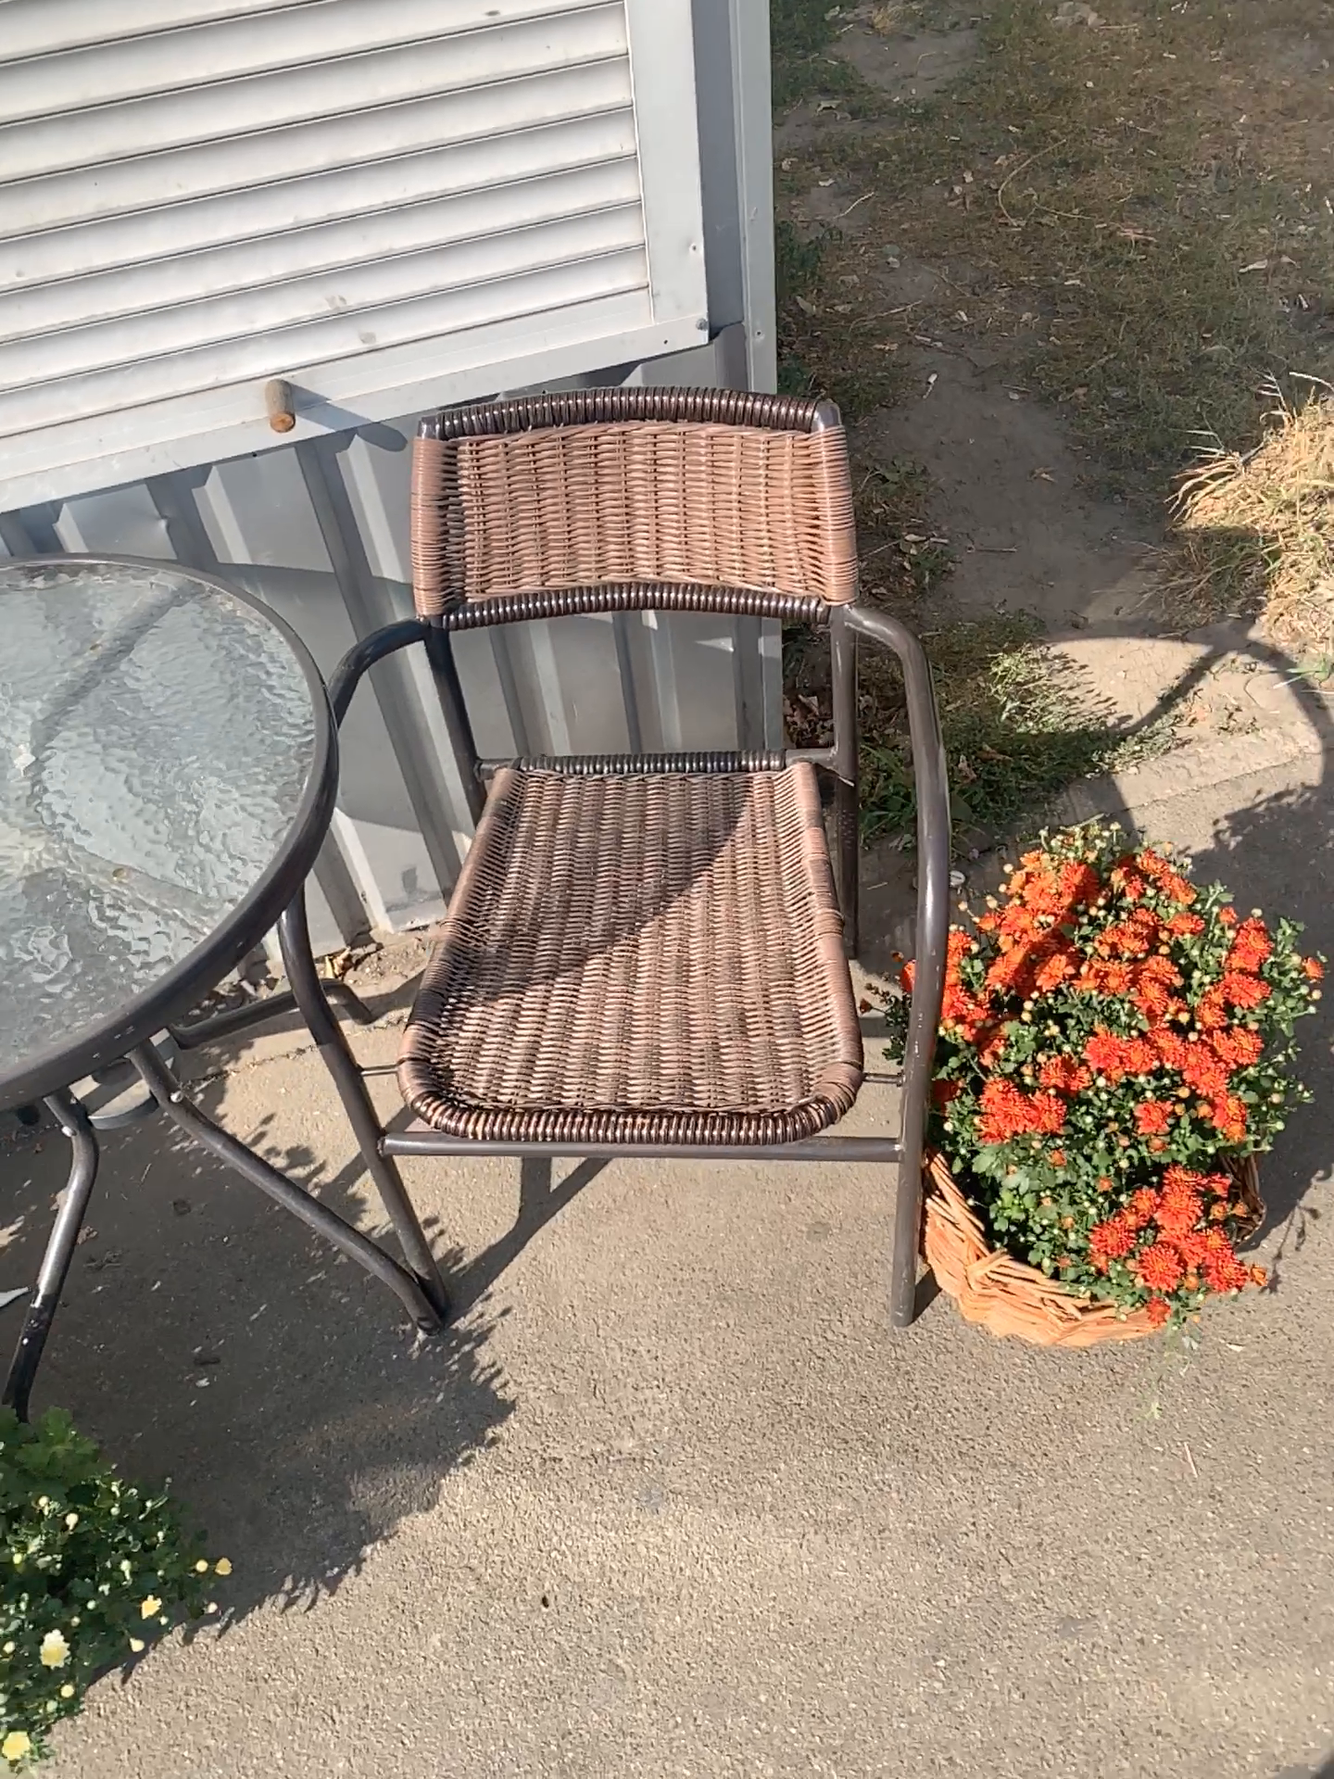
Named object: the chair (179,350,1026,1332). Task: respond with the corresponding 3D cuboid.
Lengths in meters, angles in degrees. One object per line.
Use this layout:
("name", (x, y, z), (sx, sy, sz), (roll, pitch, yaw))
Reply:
("chair", (-0.014, -0.025, 1.403), (0.570, 0.717, 0.693), (-2, 50, 4))
